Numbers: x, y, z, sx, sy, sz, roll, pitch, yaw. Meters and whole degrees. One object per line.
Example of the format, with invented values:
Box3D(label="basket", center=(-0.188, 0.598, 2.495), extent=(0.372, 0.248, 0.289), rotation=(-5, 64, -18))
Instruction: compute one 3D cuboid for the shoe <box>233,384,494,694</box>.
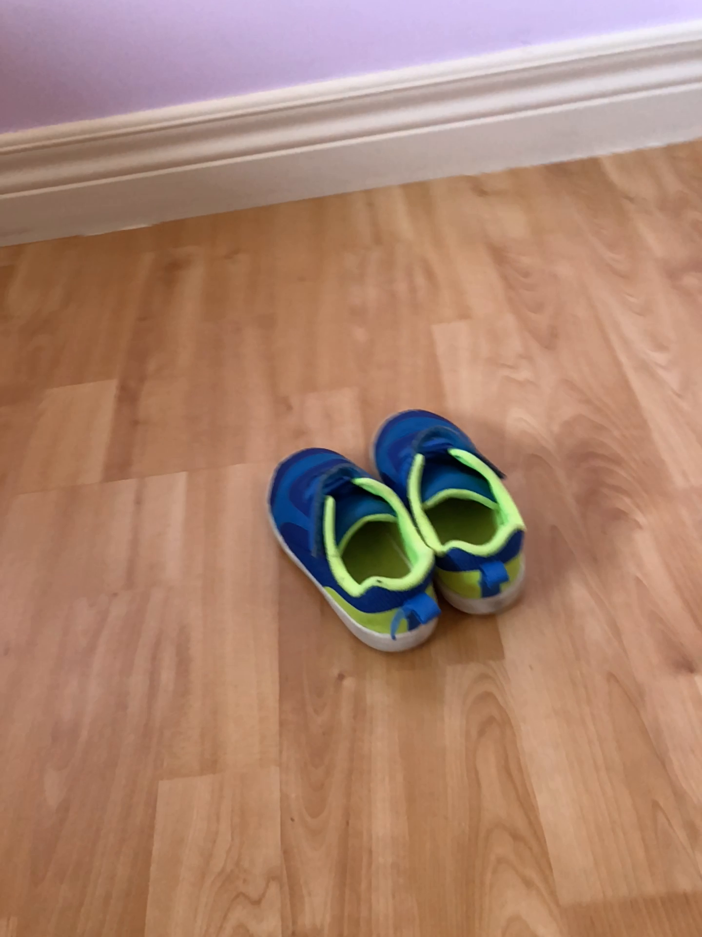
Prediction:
Box3D(label="shoe", center=(0.005, 0.035, 0.464), extent=(0.080, 0.070, 0.161), rotation=(-27, 50, -14))

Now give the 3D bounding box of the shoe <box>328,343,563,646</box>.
Box3D(label="shoe", center=(0.051, 0.009, 0.468), extent=(0.080, 0.070, 0.161), rotation=(-17, 48, -6))
